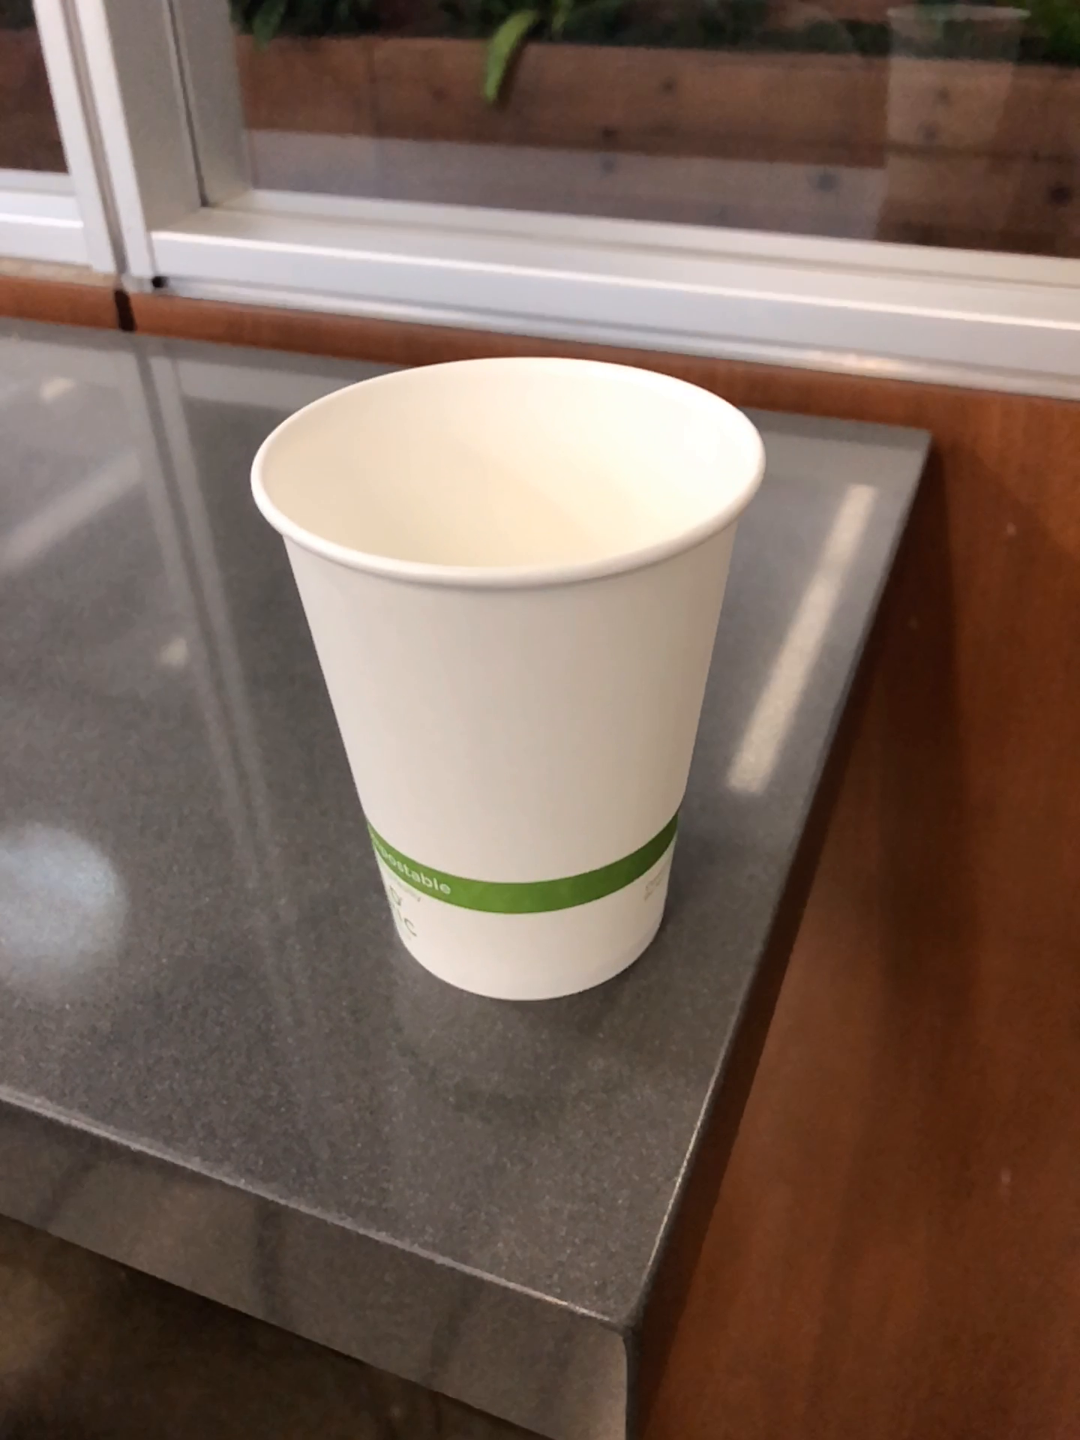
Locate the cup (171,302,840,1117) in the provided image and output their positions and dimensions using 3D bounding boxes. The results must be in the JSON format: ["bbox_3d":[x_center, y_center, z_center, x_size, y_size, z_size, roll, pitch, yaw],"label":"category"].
[{"bbox_3d":[-0.009,-0.006,0.241,0.090,0.119,0.080,-15,37,-19],"label":"cup"}]
